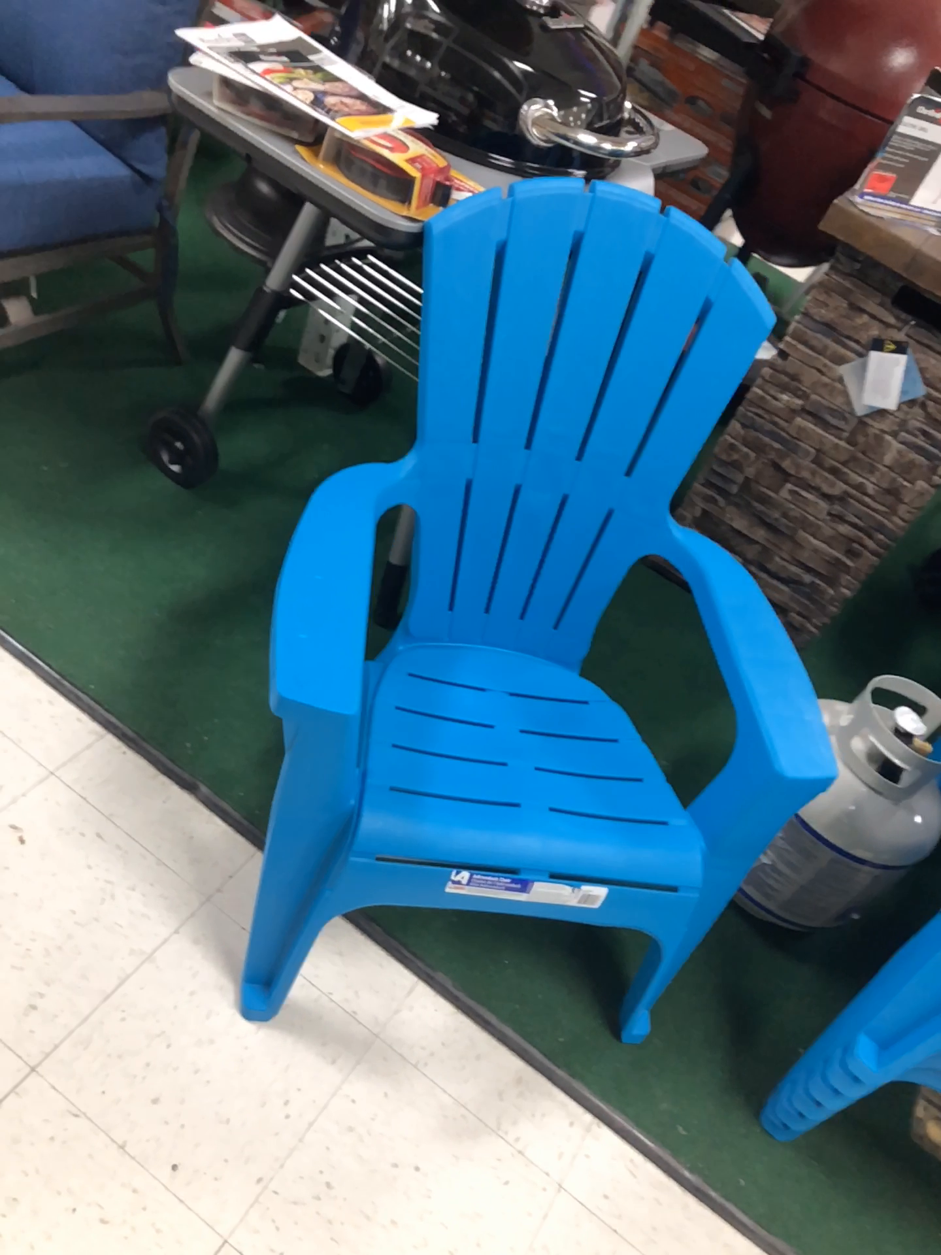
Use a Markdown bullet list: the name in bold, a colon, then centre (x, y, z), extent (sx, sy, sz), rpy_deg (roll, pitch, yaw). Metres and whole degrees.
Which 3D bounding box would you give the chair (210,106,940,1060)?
- **chair**: centre (0.113, 0.027, 1.328), extent (0.682, 0.931, 0.649), rpy_deg (10, 44, -16)
